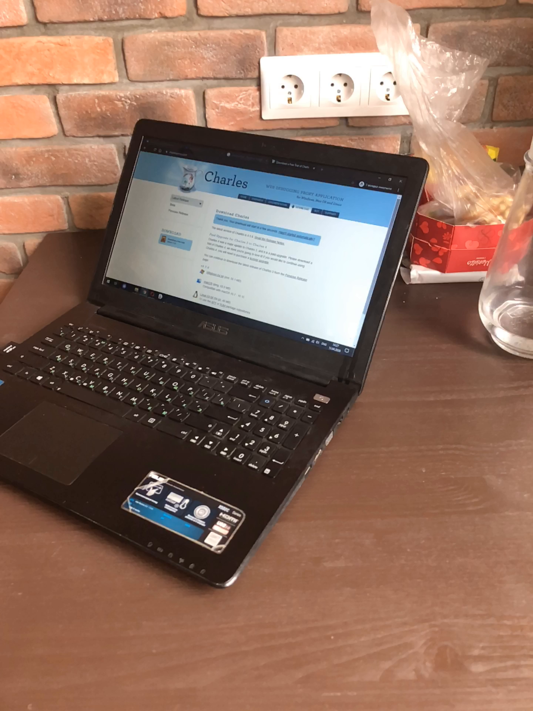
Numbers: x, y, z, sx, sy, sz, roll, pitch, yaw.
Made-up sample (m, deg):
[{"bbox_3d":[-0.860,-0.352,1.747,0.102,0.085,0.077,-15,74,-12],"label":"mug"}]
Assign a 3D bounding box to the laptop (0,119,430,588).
[{"bbox_3d":[-0.097,-0.066,0.578,0.373,0.186,0.401,17,41,25],"label":"laptop"}]
